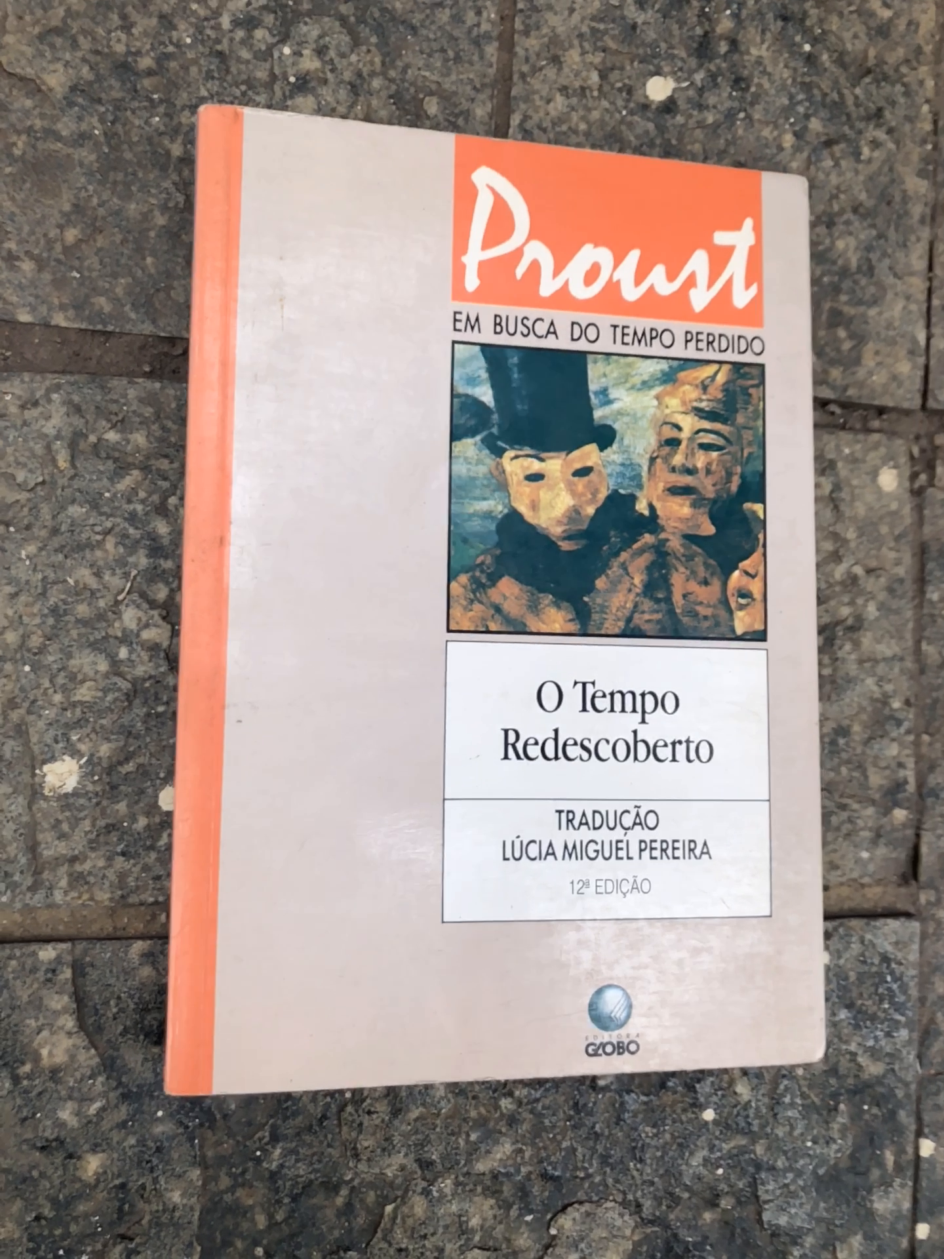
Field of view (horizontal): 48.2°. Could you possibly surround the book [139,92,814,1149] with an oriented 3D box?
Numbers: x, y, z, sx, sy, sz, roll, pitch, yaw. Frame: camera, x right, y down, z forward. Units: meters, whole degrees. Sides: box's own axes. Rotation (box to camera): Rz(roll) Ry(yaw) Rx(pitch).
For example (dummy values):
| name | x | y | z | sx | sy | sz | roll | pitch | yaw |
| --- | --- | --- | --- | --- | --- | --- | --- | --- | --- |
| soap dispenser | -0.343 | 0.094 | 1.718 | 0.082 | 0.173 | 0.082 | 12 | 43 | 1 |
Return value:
| name | x | y | z | sx | sy | sz | roll | pitch | yaw |
| --- | --- | --- | --- | --- | --- | --- | --- | --- | --- |
| book | 0.004 | -0.003 | 0.223 | 0.134 | 0.023 | 0.199 | 1 | 86 | -12 |
